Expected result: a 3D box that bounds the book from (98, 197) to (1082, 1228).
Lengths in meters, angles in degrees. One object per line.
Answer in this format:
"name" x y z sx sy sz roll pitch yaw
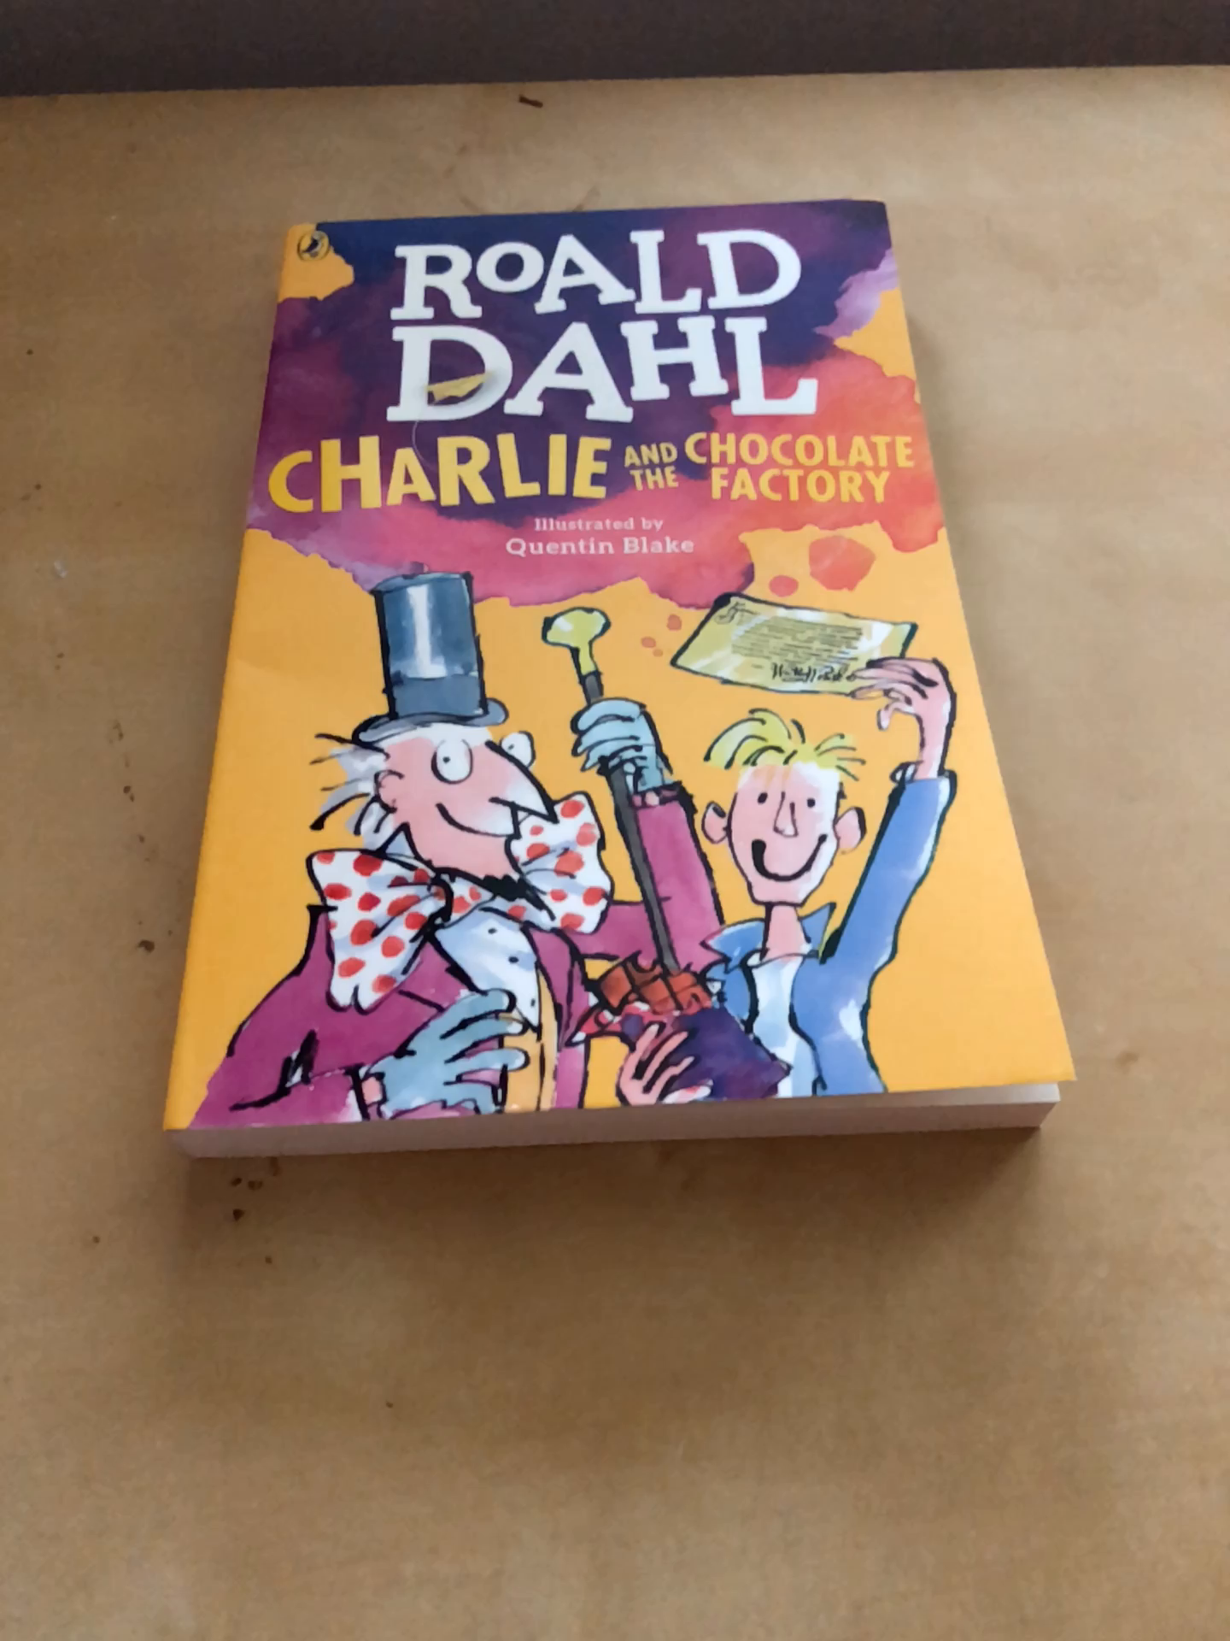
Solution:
"book" -0.007 -0.034 0.255 0.134 0.040 0.202 -2 59 -1
